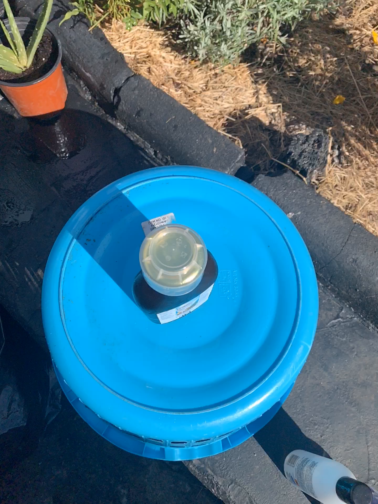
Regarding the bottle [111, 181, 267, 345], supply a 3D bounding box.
[{"bbox_3d":[-0.008,0.026,0.328,0.080,0.199,0.050,-27,75,-14],"label":"bottle"}]
